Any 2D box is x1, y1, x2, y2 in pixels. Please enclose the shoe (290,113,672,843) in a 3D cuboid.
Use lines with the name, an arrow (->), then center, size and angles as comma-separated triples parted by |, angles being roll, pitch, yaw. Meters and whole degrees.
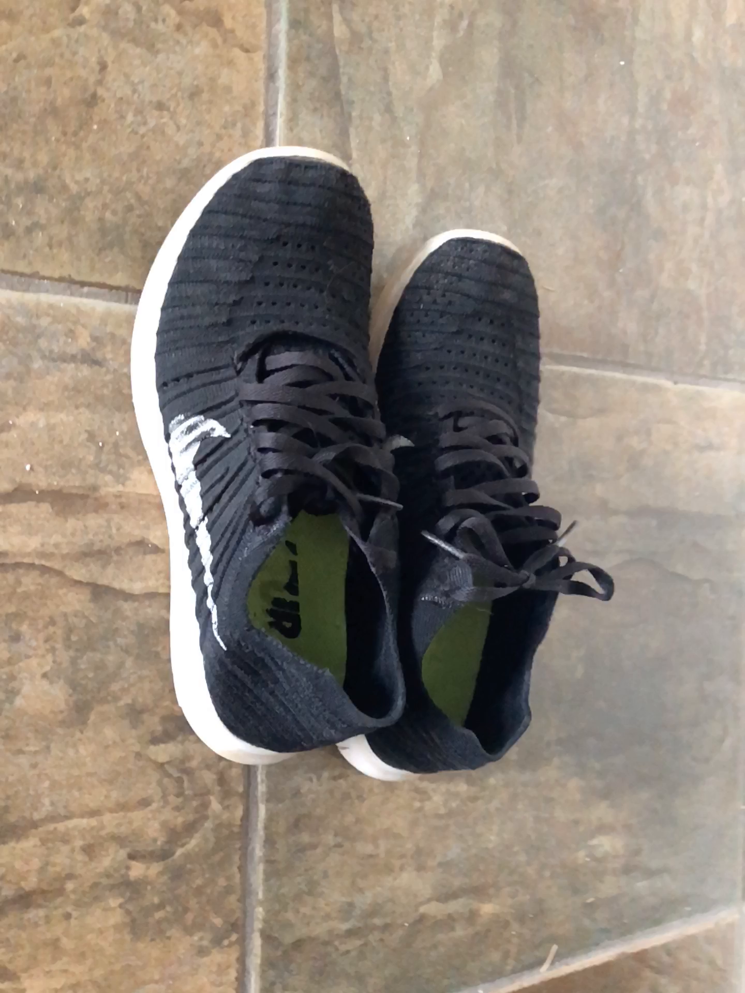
shoe -> 0.045, -0.003, 0.353 | 0.100, 0.090, 0.260 | 9, 86, -28

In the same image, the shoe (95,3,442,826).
shoe -> -0.044, -0.025, 0.322 | 0.100, 0.090, 0.260 | 3, 89, -28
